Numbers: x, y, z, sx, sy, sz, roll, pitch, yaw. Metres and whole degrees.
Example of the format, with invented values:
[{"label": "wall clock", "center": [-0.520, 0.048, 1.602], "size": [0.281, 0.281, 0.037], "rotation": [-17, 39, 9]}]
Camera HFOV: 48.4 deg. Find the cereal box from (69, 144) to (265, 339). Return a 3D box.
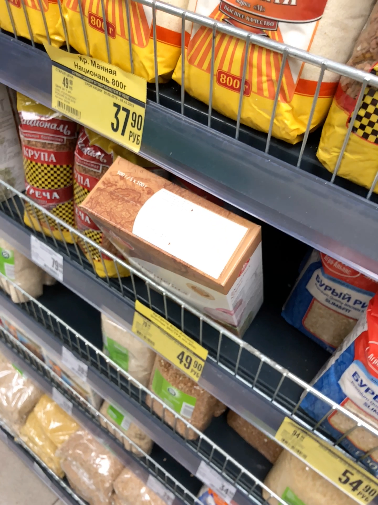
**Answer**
[{"label": "cereal box", "center": [-0.004, 0.003, 0.395], "size": [0.140, 0.199, 0.050], "rotation": [29, 75, 20]}]
